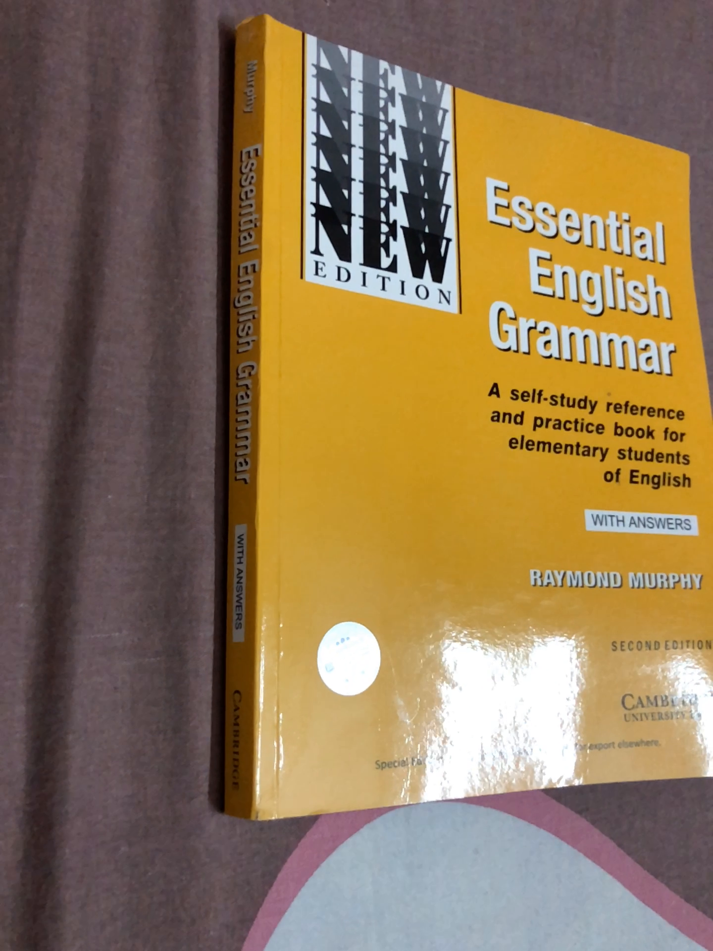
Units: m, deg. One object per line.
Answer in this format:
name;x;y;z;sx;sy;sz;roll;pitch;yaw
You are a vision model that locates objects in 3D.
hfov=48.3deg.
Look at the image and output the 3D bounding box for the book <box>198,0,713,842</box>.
book;0.049;-0.025;0.269;0.191;0.040;0.250;6;76;-26
